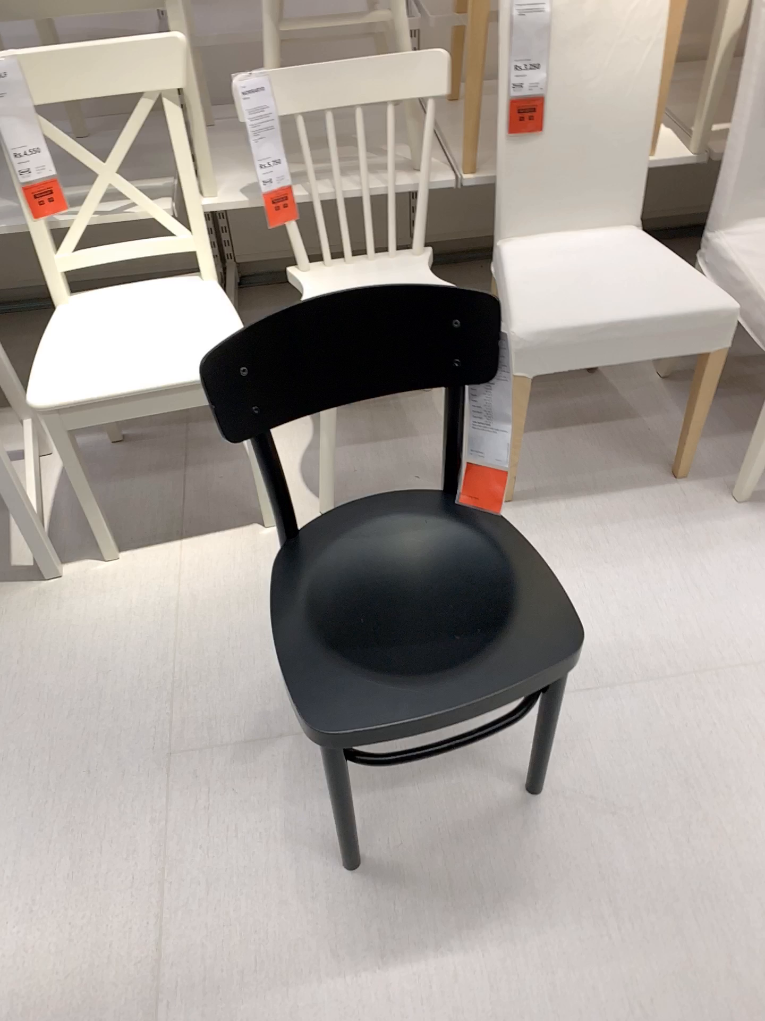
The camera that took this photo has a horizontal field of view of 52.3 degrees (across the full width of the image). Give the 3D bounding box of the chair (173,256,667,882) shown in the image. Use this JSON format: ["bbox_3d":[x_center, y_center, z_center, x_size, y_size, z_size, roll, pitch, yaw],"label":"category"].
[{"bbox_3d":[0.023,0.119,1.186,0.430,0.767,0.472,-16,48,-13],"label":"chair"}]
